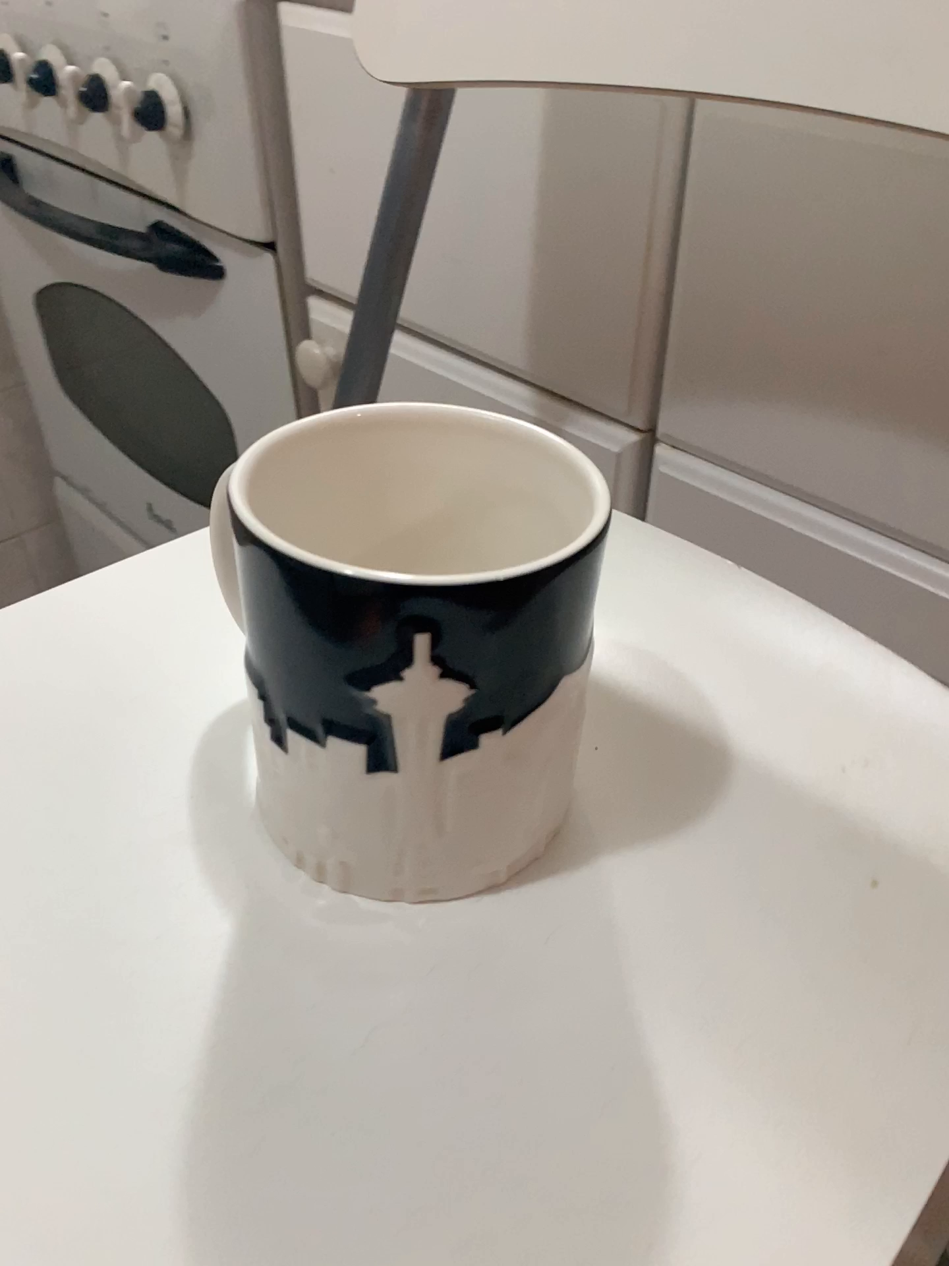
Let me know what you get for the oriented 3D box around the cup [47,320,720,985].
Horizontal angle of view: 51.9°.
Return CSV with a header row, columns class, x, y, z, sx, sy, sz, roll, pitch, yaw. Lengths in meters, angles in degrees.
class,x,y,z,sx,sy,sz,roll,pitch,yaw
cup,-0.027,-0.007,0.280,0.104,0.100,0.144,-31,48,-31
